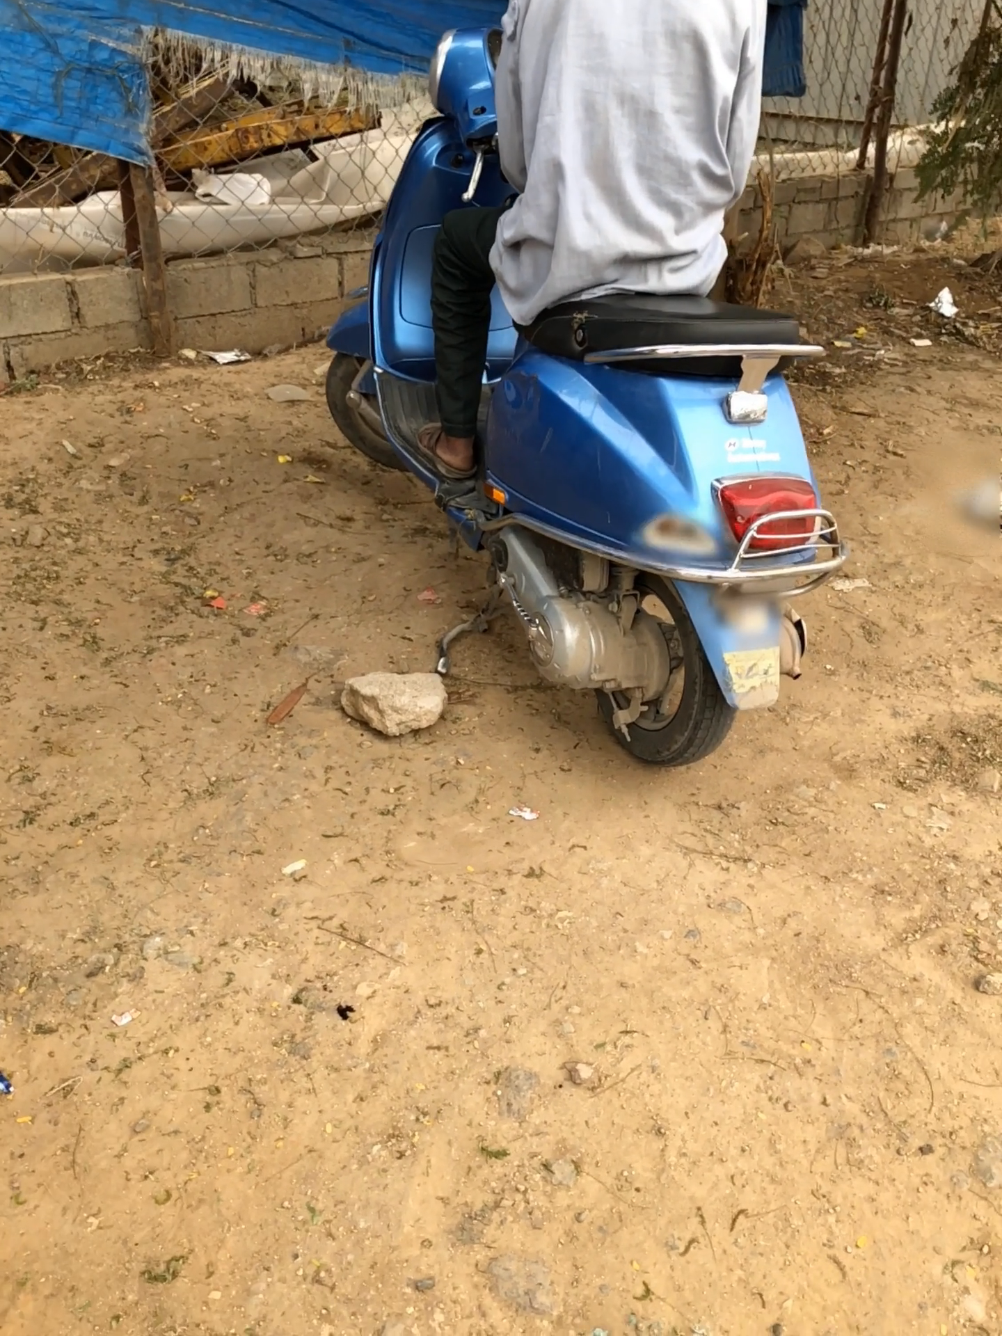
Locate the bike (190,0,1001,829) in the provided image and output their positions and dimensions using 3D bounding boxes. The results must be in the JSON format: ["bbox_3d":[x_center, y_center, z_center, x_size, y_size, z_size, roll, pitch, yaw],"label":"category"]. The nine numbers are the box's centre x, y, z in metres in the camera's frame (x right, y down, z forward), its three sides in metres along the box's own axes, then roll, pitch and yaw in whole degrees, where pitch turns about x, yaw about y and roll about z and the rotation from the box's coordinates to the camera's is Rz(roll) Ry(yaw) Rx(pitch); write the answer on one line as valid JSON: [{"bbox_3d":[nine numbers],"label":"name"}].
[{"bbox_3d":[0.022,-0.750,2.297,0.634,1.253,1.570,-16,40,-29],"label":"bike"}]
